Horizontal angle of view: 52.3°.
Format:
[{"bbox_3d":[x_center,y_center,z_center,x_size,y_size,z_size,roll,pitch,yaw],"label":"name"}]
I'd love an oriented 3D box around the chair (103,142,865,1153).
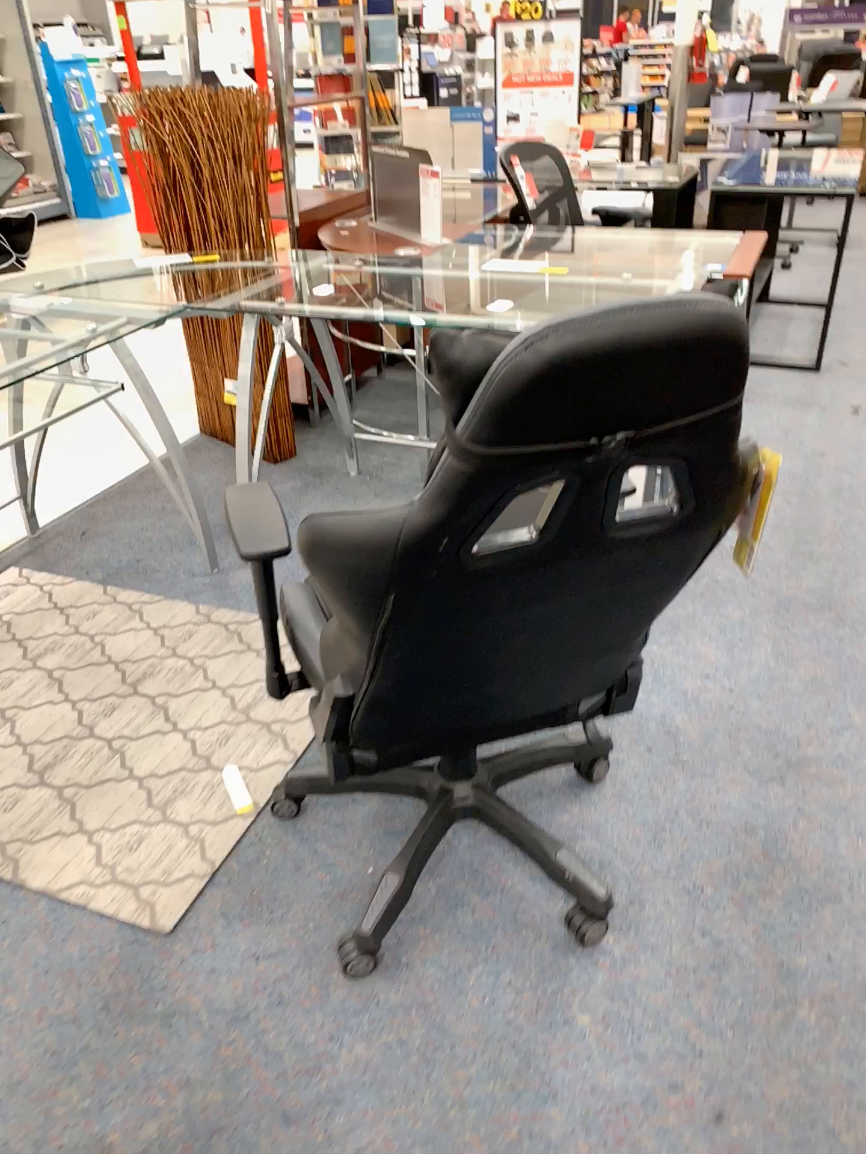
[{"bbox_3d":[0.048,0.003,1.311,0.785,1.061,0.916,-12,32,-15],"label":"chair"}]
